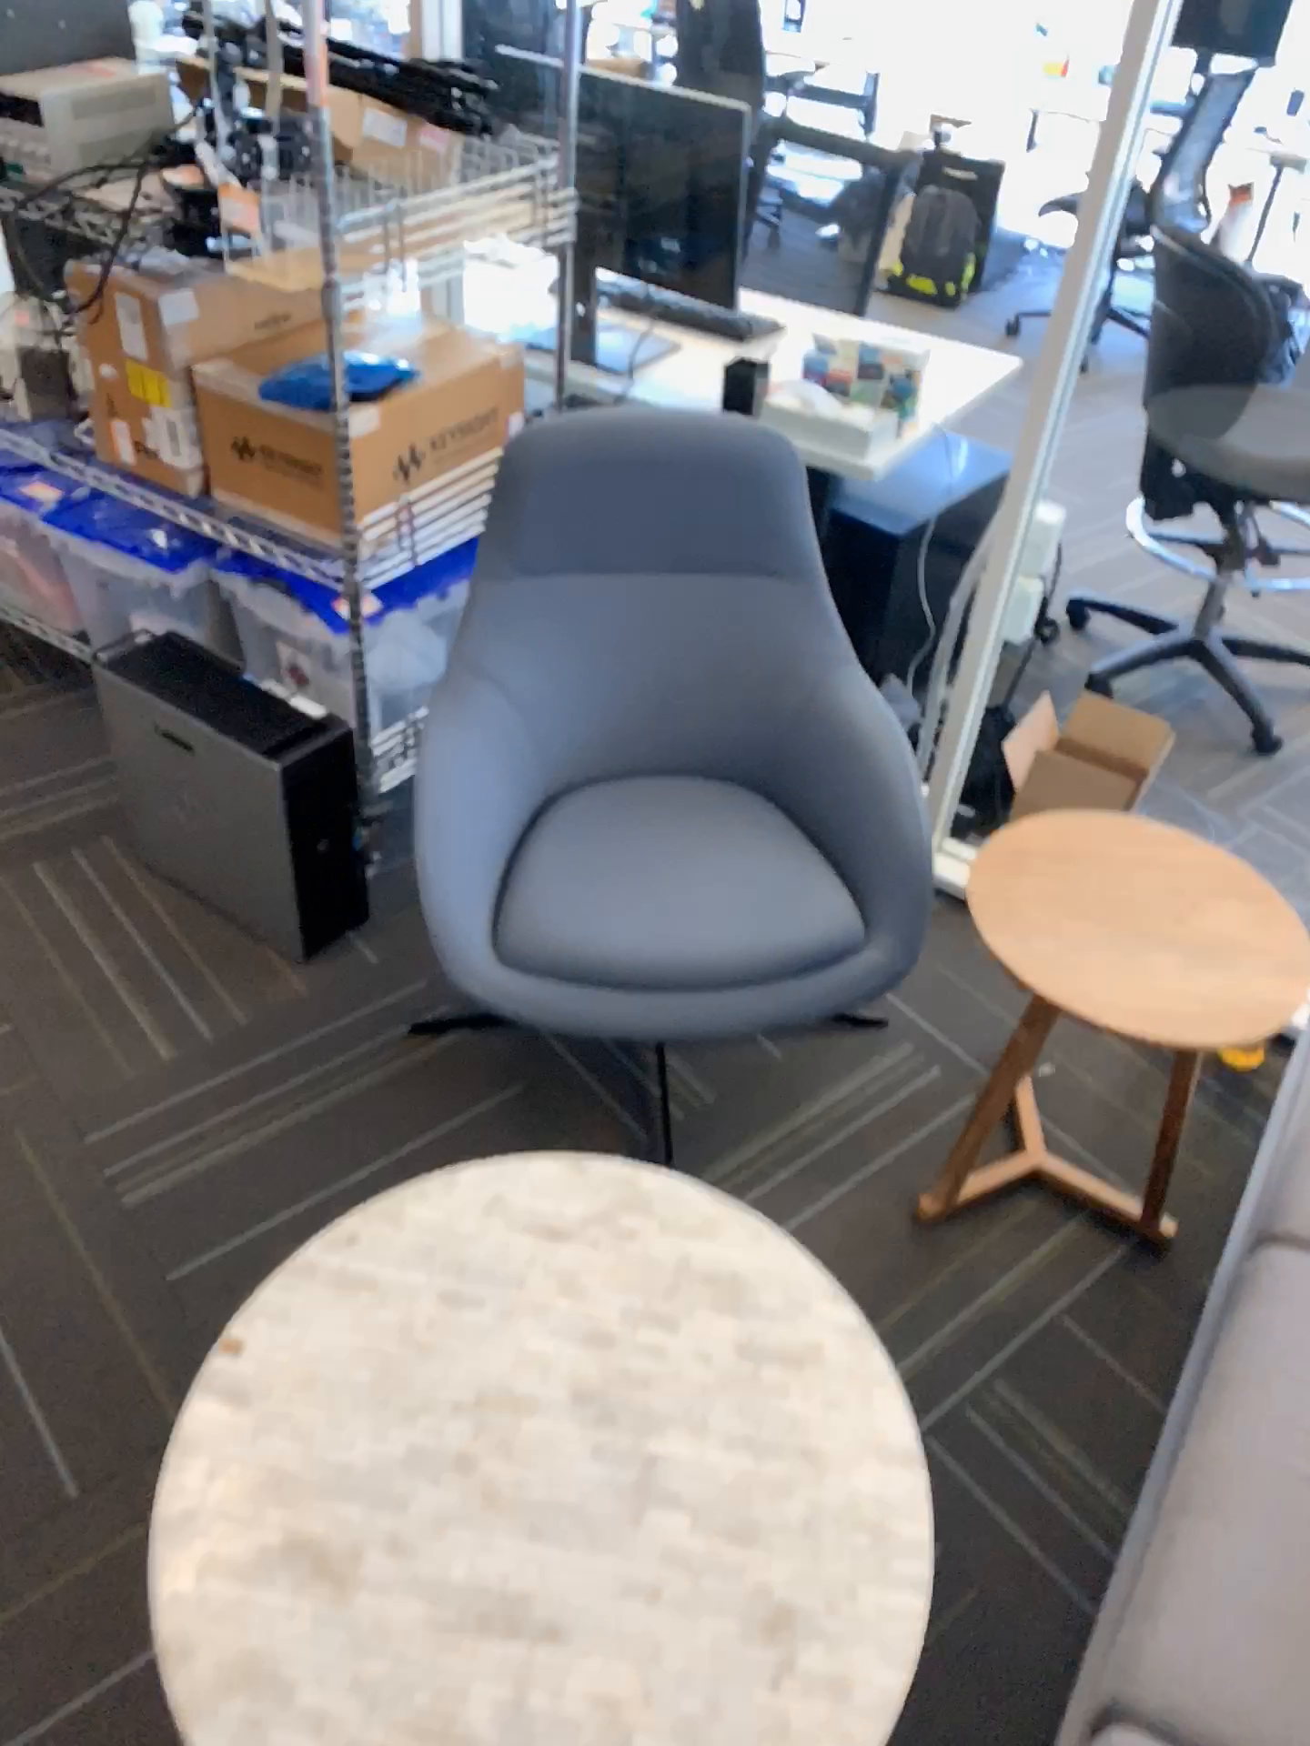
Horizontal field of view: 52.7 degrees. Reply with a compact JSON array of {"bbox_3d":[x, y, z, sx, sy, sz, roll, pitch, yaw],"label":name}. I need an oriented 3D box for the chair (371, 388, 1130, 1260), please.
[{"bbox_3d":[0.045,-0.097,2.137,0.840,0.964,1.006,1,40,-6],"label":"chair"}]
